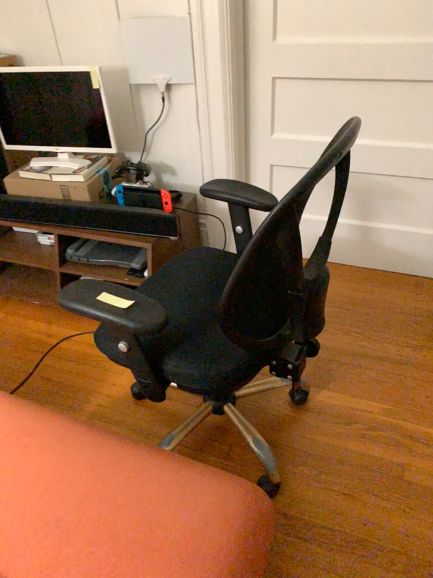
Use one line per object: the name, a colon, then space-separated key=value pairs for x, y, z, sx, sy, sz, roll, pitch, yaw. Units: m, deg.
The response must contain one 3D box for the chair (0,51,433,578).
chair: x=0.019 y=0.045 z=1.113 sx=0.662 sy=0.974 sz=0.642 roll=23 pitch=44 yaw=24
